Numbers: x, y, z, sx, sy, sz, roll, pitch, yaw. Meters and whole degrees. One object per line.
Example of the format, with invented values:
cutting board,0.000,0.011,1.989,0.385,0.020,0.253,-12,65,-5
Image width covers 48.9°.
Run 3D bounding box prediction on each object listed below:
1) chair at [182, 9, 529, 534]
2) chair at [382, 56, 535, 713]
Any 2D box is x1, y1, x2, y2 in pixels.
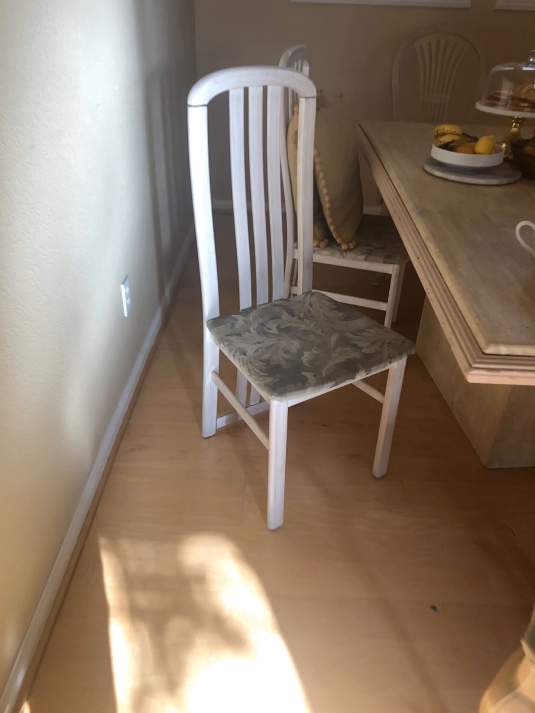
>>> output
chair,0.195,-0.286,1.919,0.633,1.448,0.673,-16,34,-26
chair,0.694,0.357,0.829,0.631,1.289,0.594,29,41,32
